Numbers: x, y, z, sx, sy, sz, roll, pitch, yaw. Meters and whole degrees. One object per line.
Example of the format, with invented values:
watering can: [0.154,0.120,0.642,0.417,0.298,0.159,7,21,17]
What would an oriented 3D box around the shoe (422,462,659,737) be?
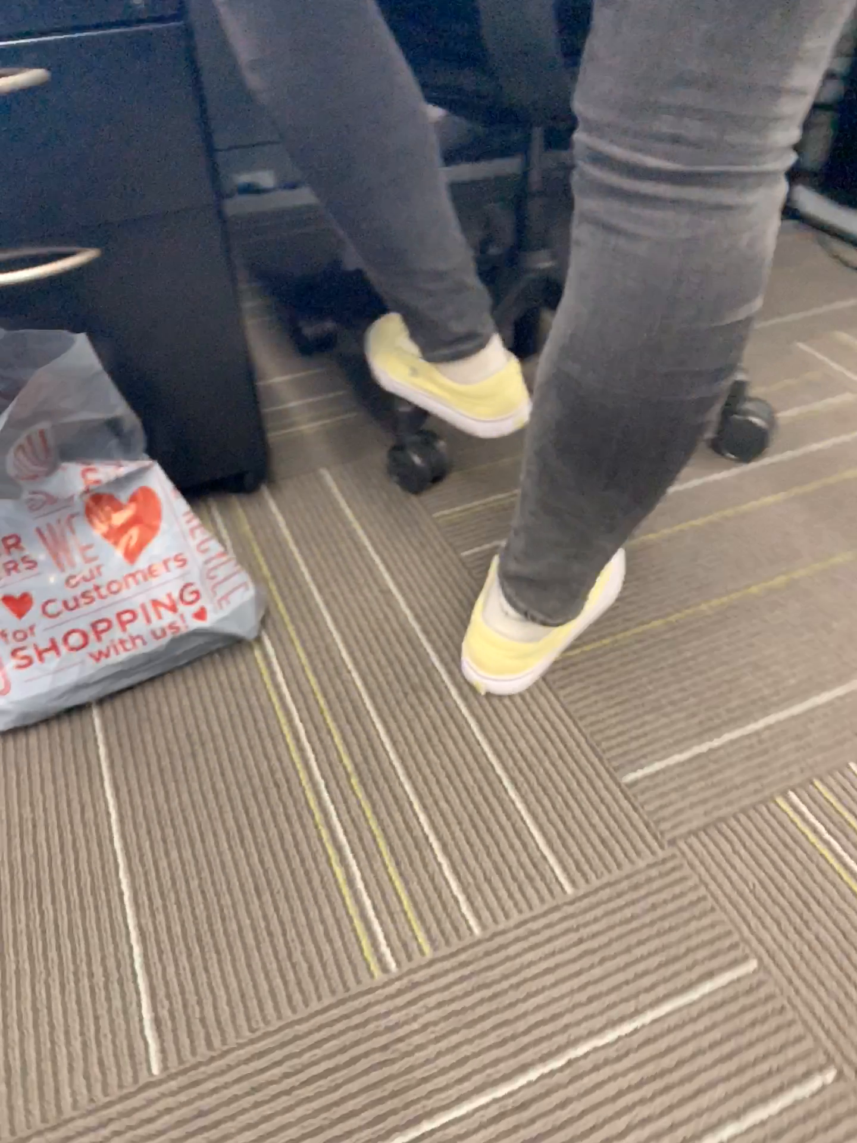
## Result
shoe: [0.114,0.016,0.855,0.102,0.101,0.269,23,47,27]

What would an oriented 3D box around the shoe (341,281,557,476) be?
shoe: [0.016,-0.222,0.981,0.098,0.096,0.261,-26,46,-24]
